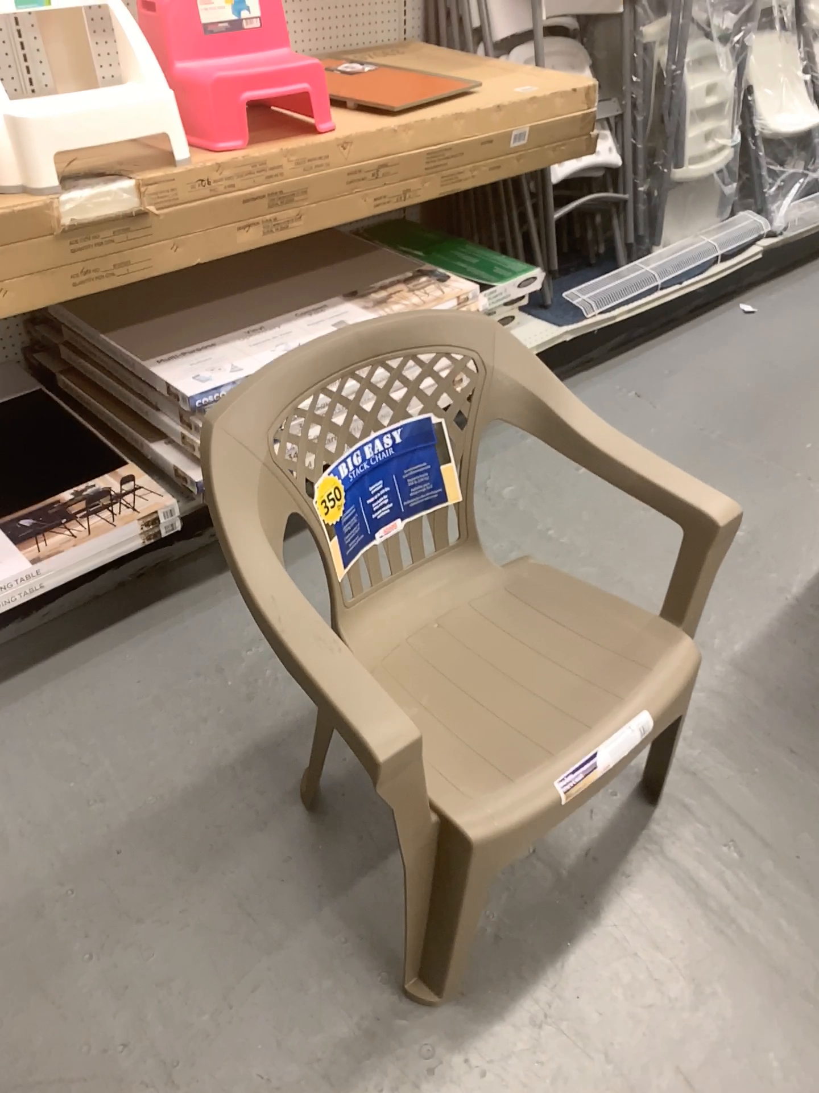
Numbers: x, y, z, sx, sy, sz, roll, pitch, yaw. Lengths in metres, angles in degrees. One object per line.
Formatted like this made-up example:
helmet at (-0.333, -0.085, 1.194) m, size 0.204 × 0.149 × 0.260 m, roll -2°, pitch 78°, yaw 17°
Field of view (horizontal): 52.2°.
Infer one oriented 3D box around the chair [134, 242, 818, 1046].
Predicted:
chair at (0.129, 0.113, 1.353) m, size 0.768 × 0.878 × 0.589 m, roll -27°, pitch 46°, yaw -30°
